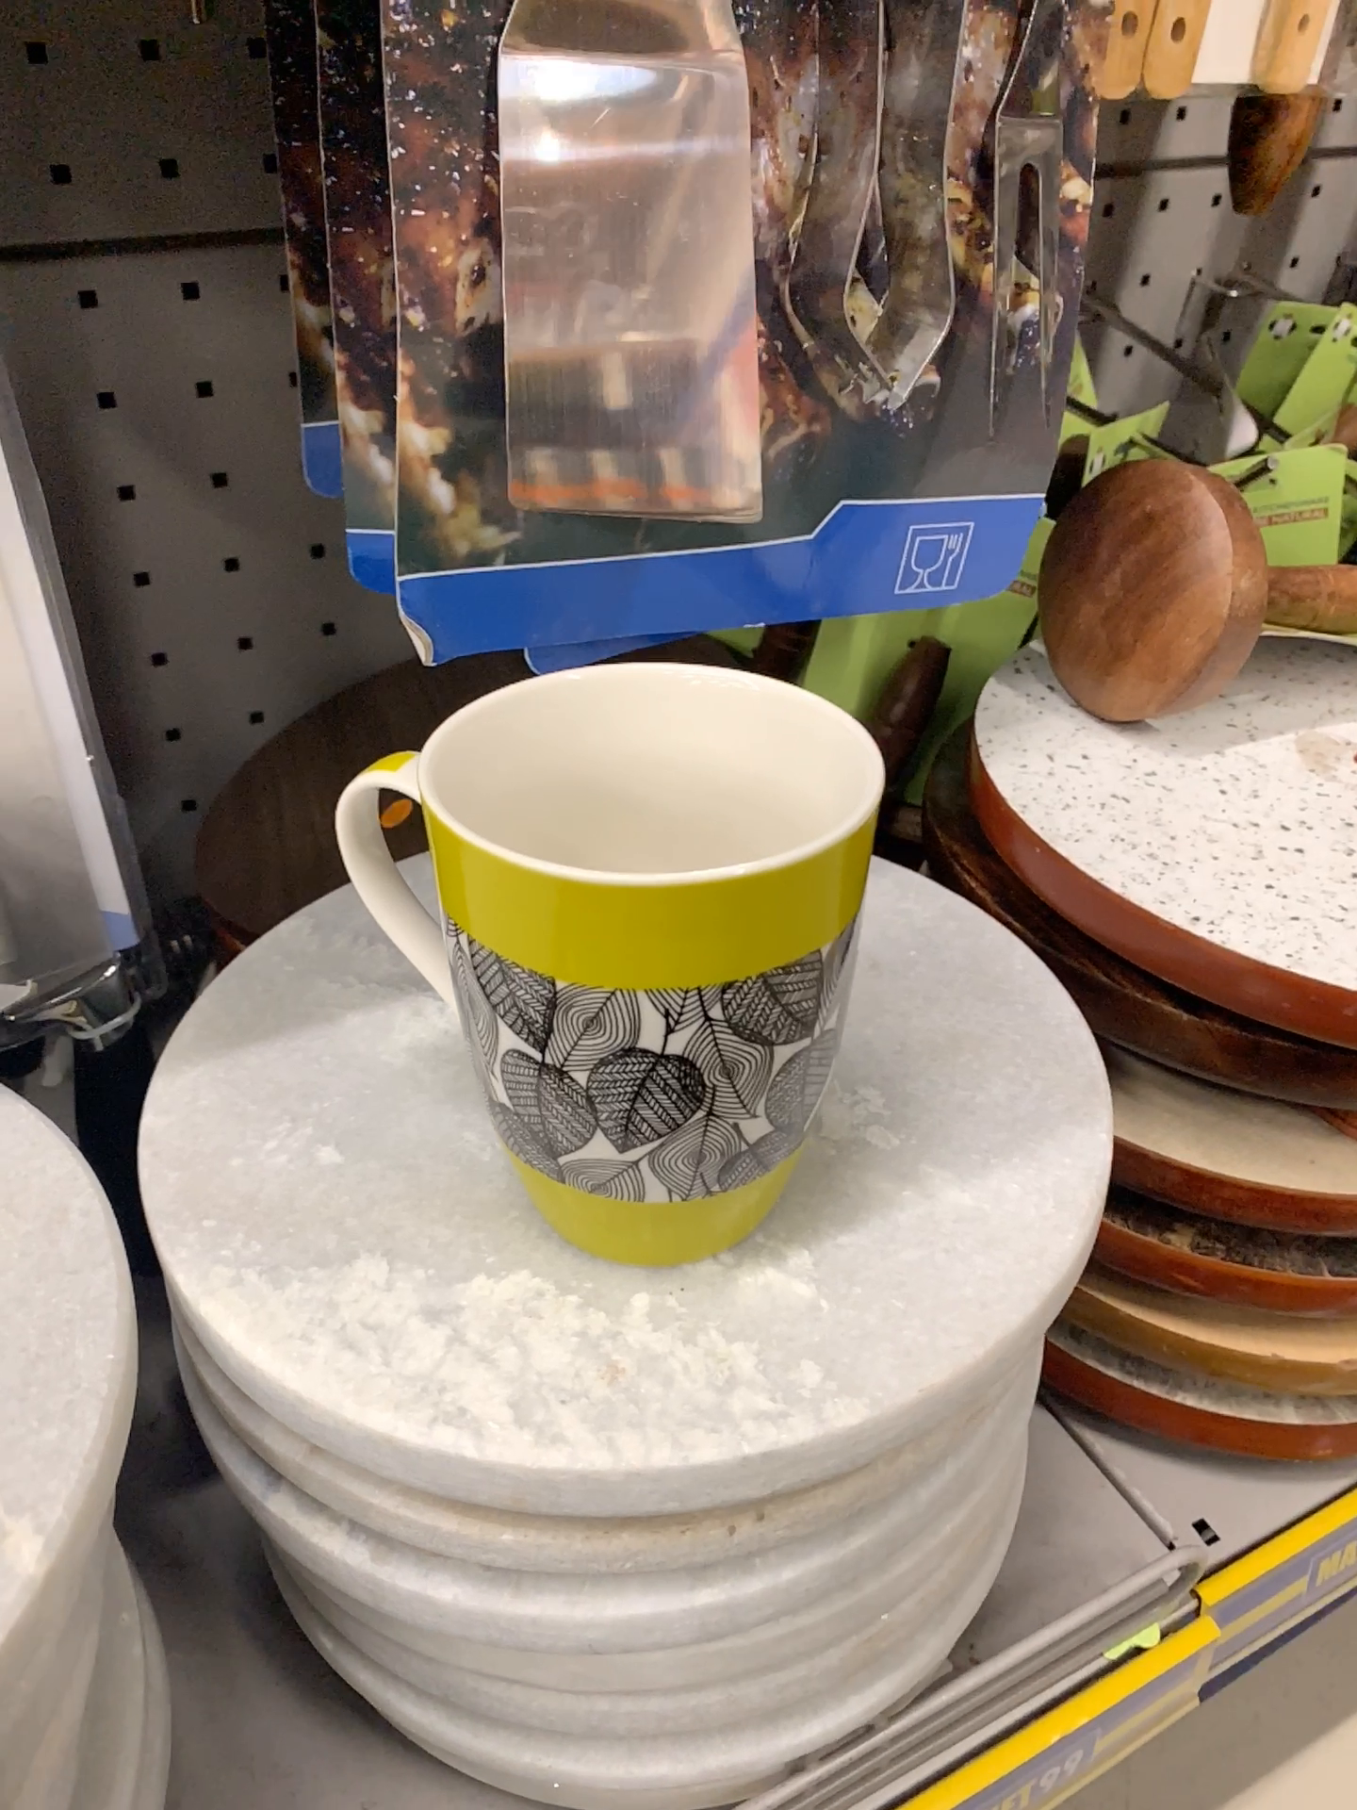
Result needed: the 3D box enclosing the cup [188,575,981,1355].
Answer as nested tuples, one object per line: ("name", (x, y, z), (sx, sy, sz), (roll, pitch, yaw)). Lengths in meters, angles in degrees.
("cup", (-0.015, 0.005, 0.266), (0.110, 0.090, 0.080), (19, 38, 22))
